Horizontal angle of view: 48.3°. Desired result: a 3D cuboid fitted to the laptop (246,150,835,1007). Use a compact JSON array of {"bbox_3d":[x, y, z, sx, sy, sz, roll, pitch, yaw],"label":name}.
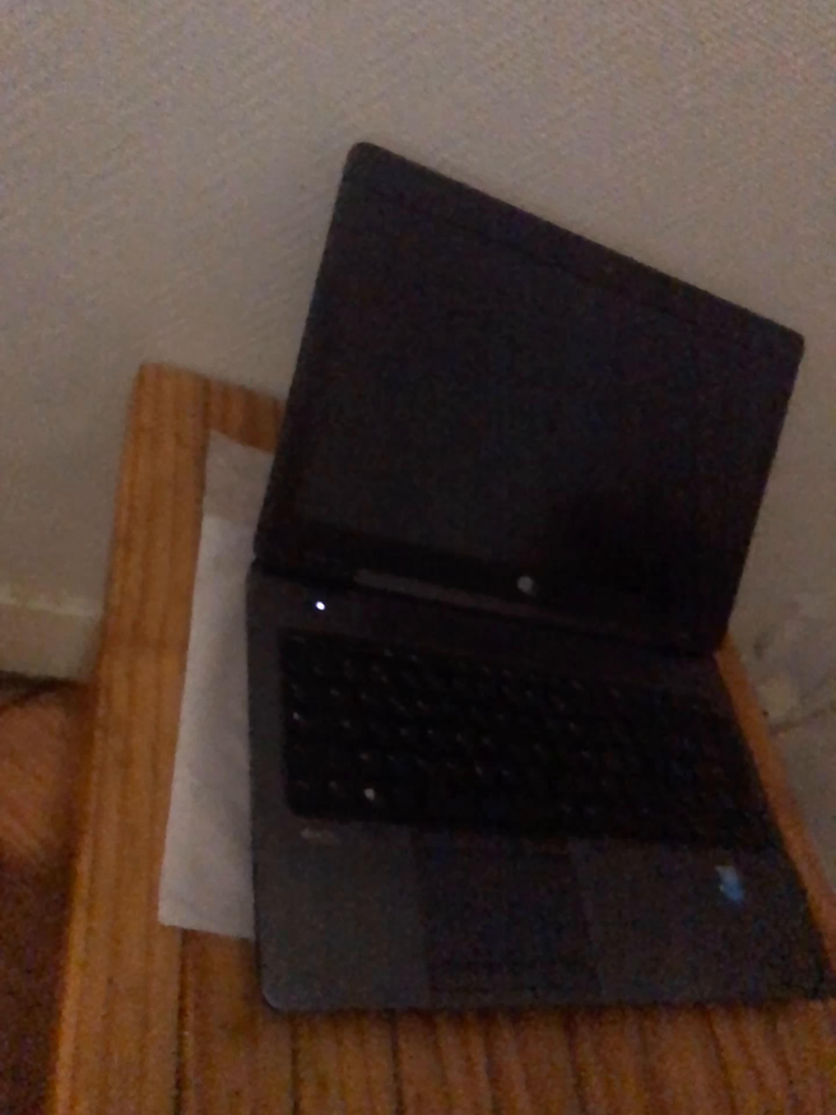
[{"bbox_3d":[0.117,0.019,0.567,0.383,0.195,0.410,13,47,-27],"label":"laptop"}]
